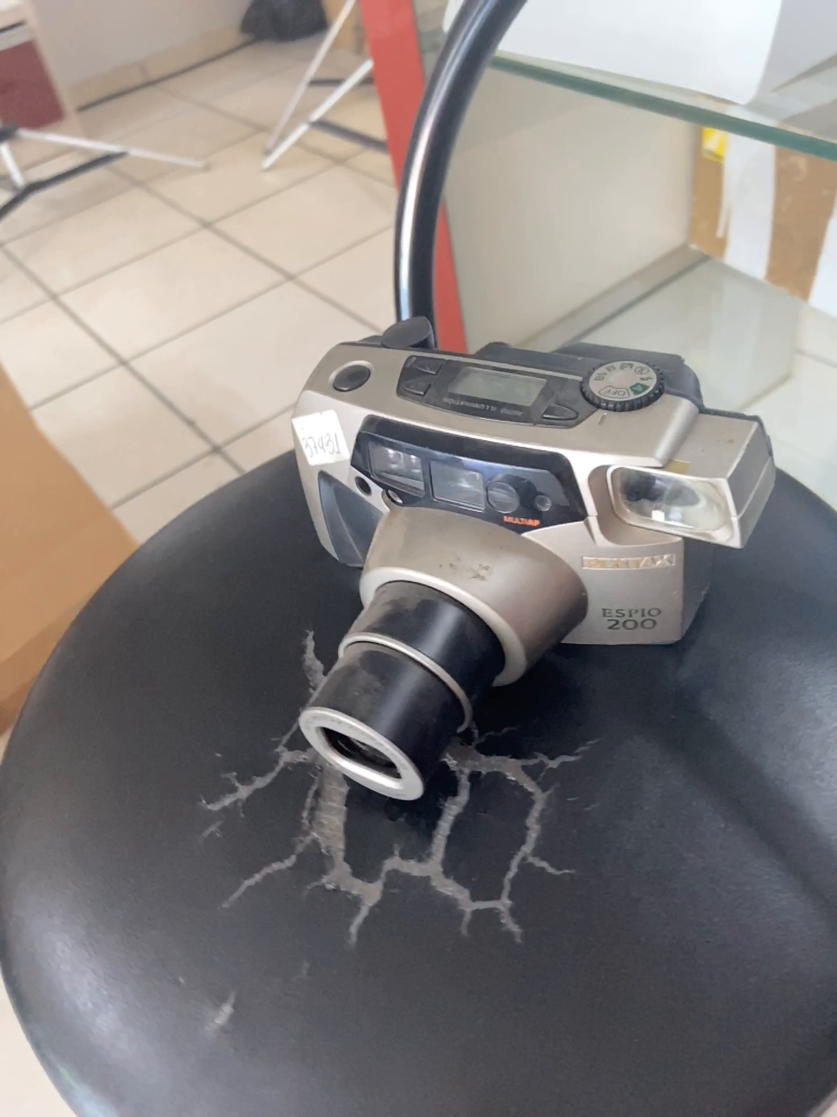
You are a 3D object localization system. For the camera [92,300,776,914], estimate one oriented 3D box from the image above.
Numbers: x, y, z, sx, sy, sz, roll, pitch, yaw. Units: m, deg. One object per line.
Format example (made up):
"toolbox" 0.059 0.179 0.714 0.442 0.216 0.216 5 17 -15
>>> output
"camera" 0.014 0.001 0.240 0.130 0.080 0.121 13 51 25
